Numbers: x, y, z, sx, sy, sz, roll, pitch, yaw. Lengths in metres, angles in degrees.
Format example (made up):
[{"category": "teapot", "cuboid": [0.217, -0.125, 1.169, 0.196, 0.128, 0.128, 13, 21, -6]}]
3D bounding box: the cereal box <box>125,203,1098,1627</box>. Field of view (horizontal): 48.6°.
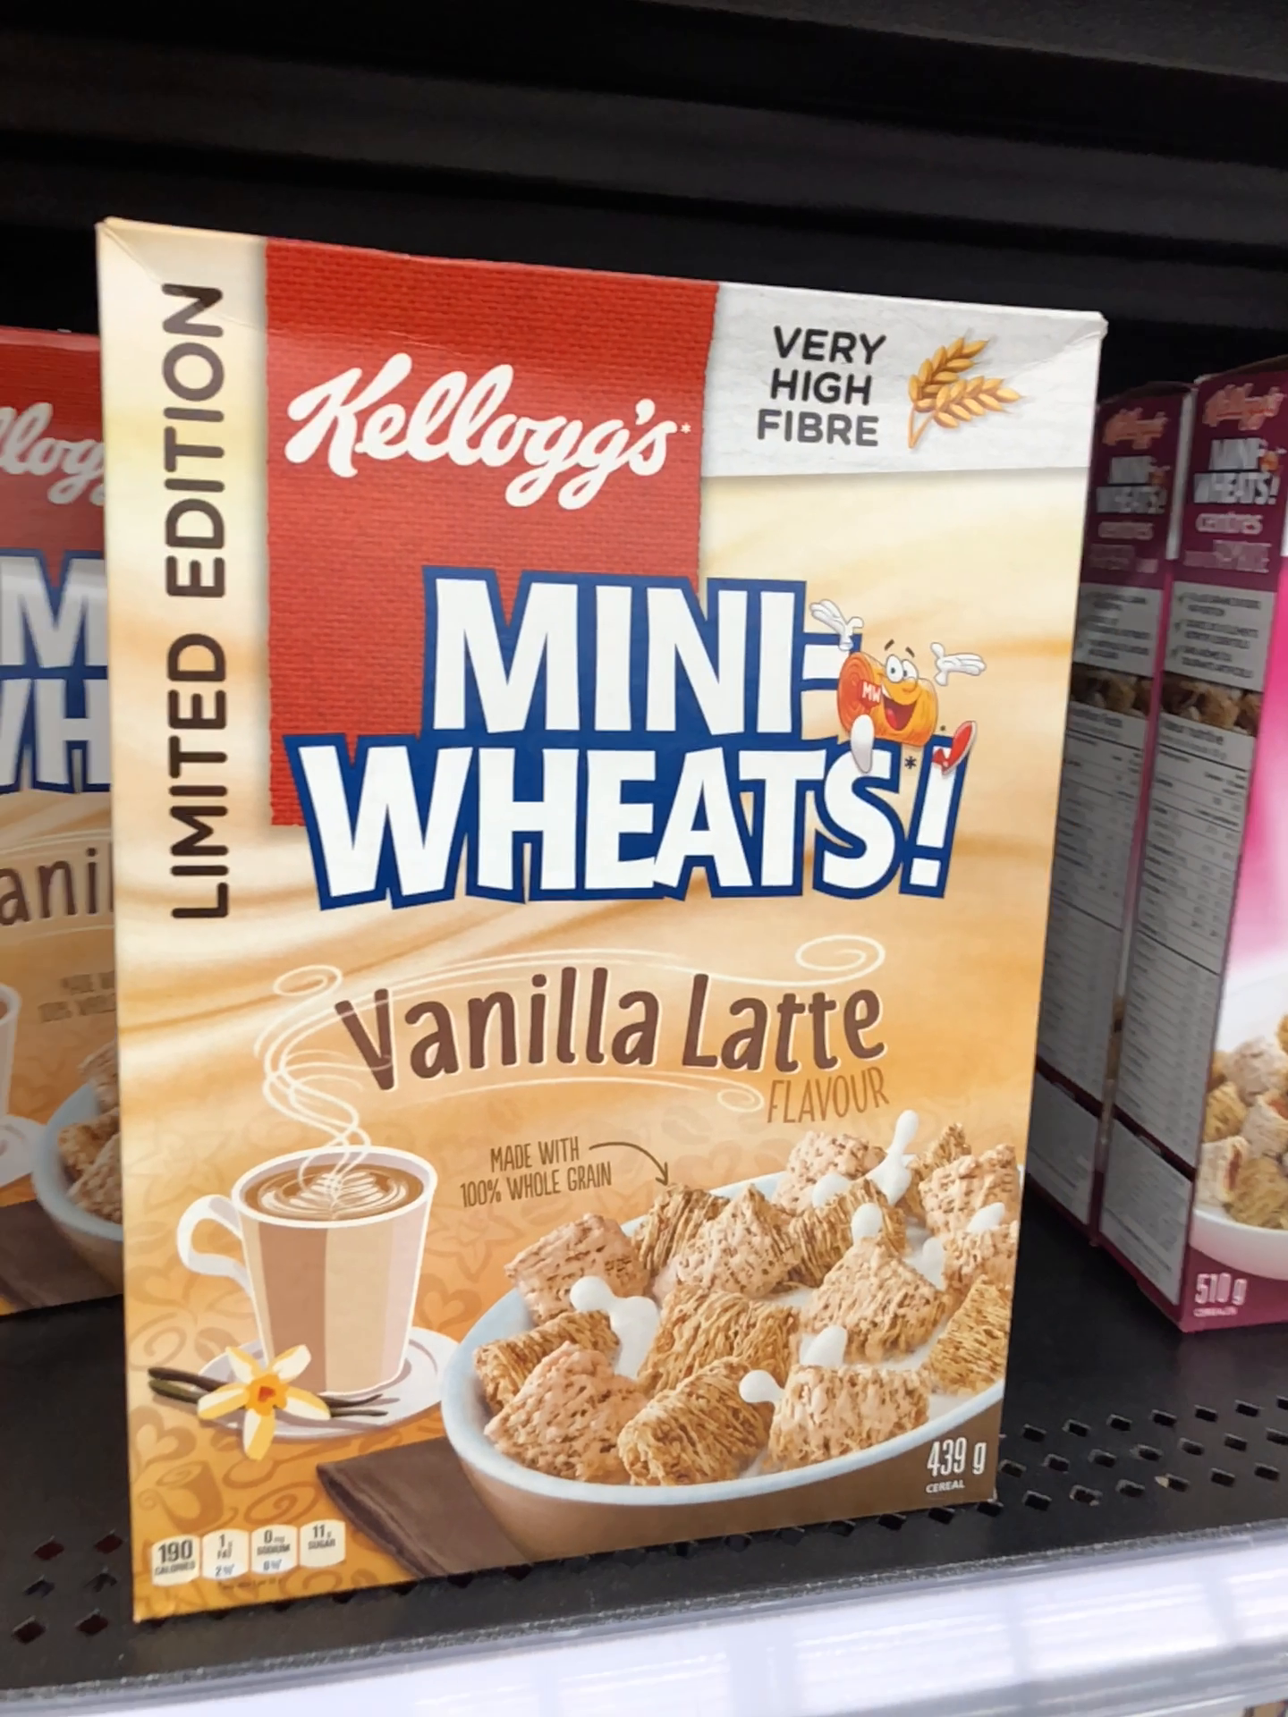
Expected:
[{"category": "cereal box", "cuboid": [-0.009, 0.015, 0.325, 0.190, 0.279, 0.060, -1, 10, -14]}]
